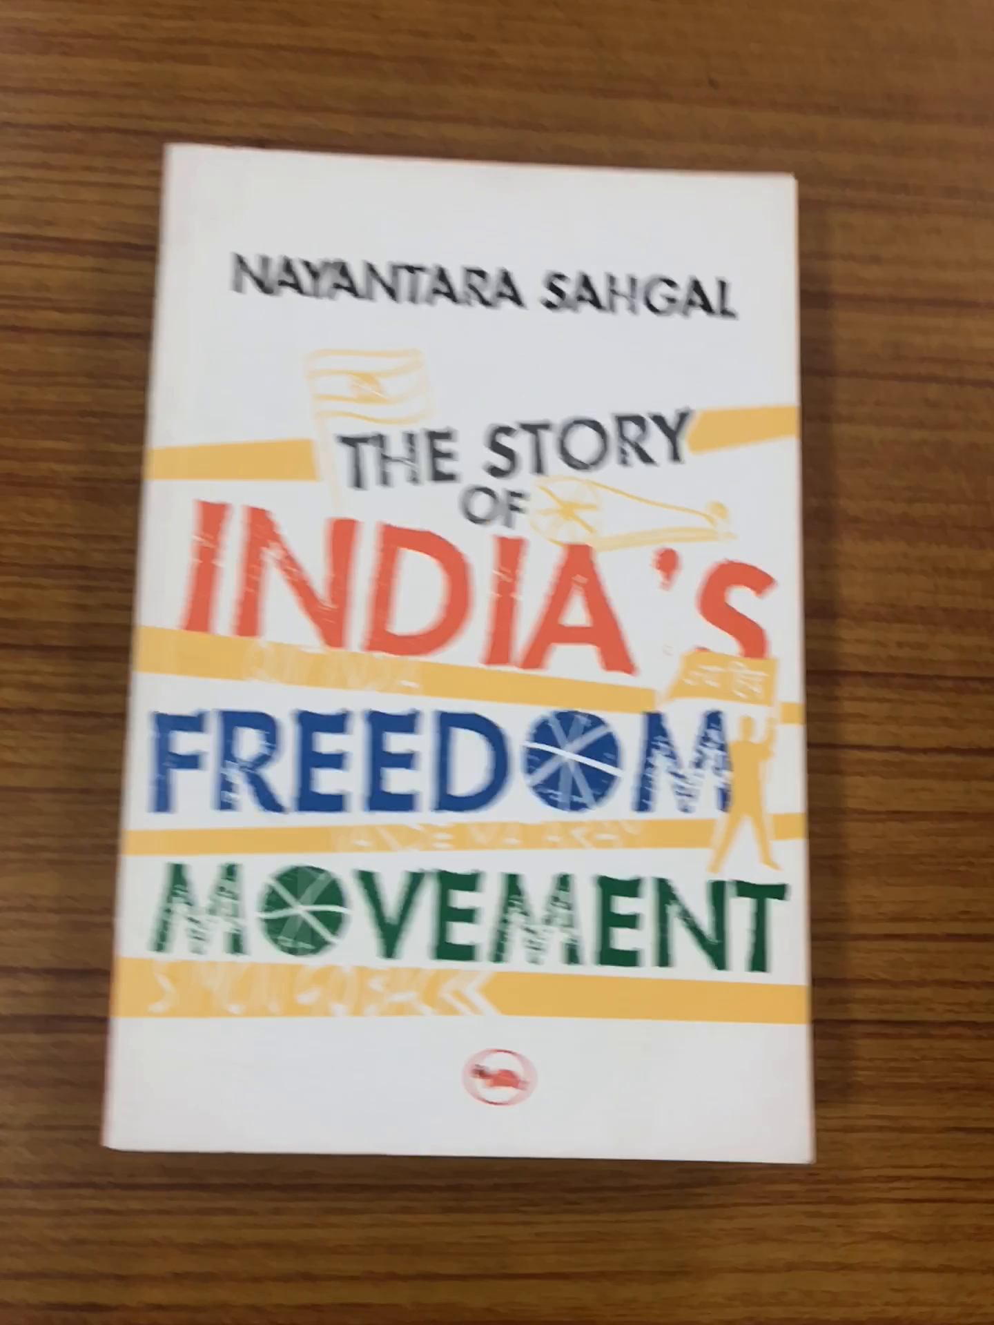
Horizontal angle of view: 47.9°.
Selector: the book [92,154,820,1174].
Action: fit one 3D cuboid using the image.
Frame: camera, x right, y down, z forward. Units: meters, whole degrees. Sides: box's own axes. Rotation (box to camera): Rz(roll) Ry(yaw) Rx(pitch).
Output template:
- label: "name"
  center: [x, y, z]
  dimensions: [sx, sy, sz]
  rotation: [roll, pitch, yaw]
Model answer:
- label: "book"
  center: [-0.005, -0.002, 0.226]
  dimensions: [0.130, 0.030, 0.190]
  rotation: [2, 83, -2]
